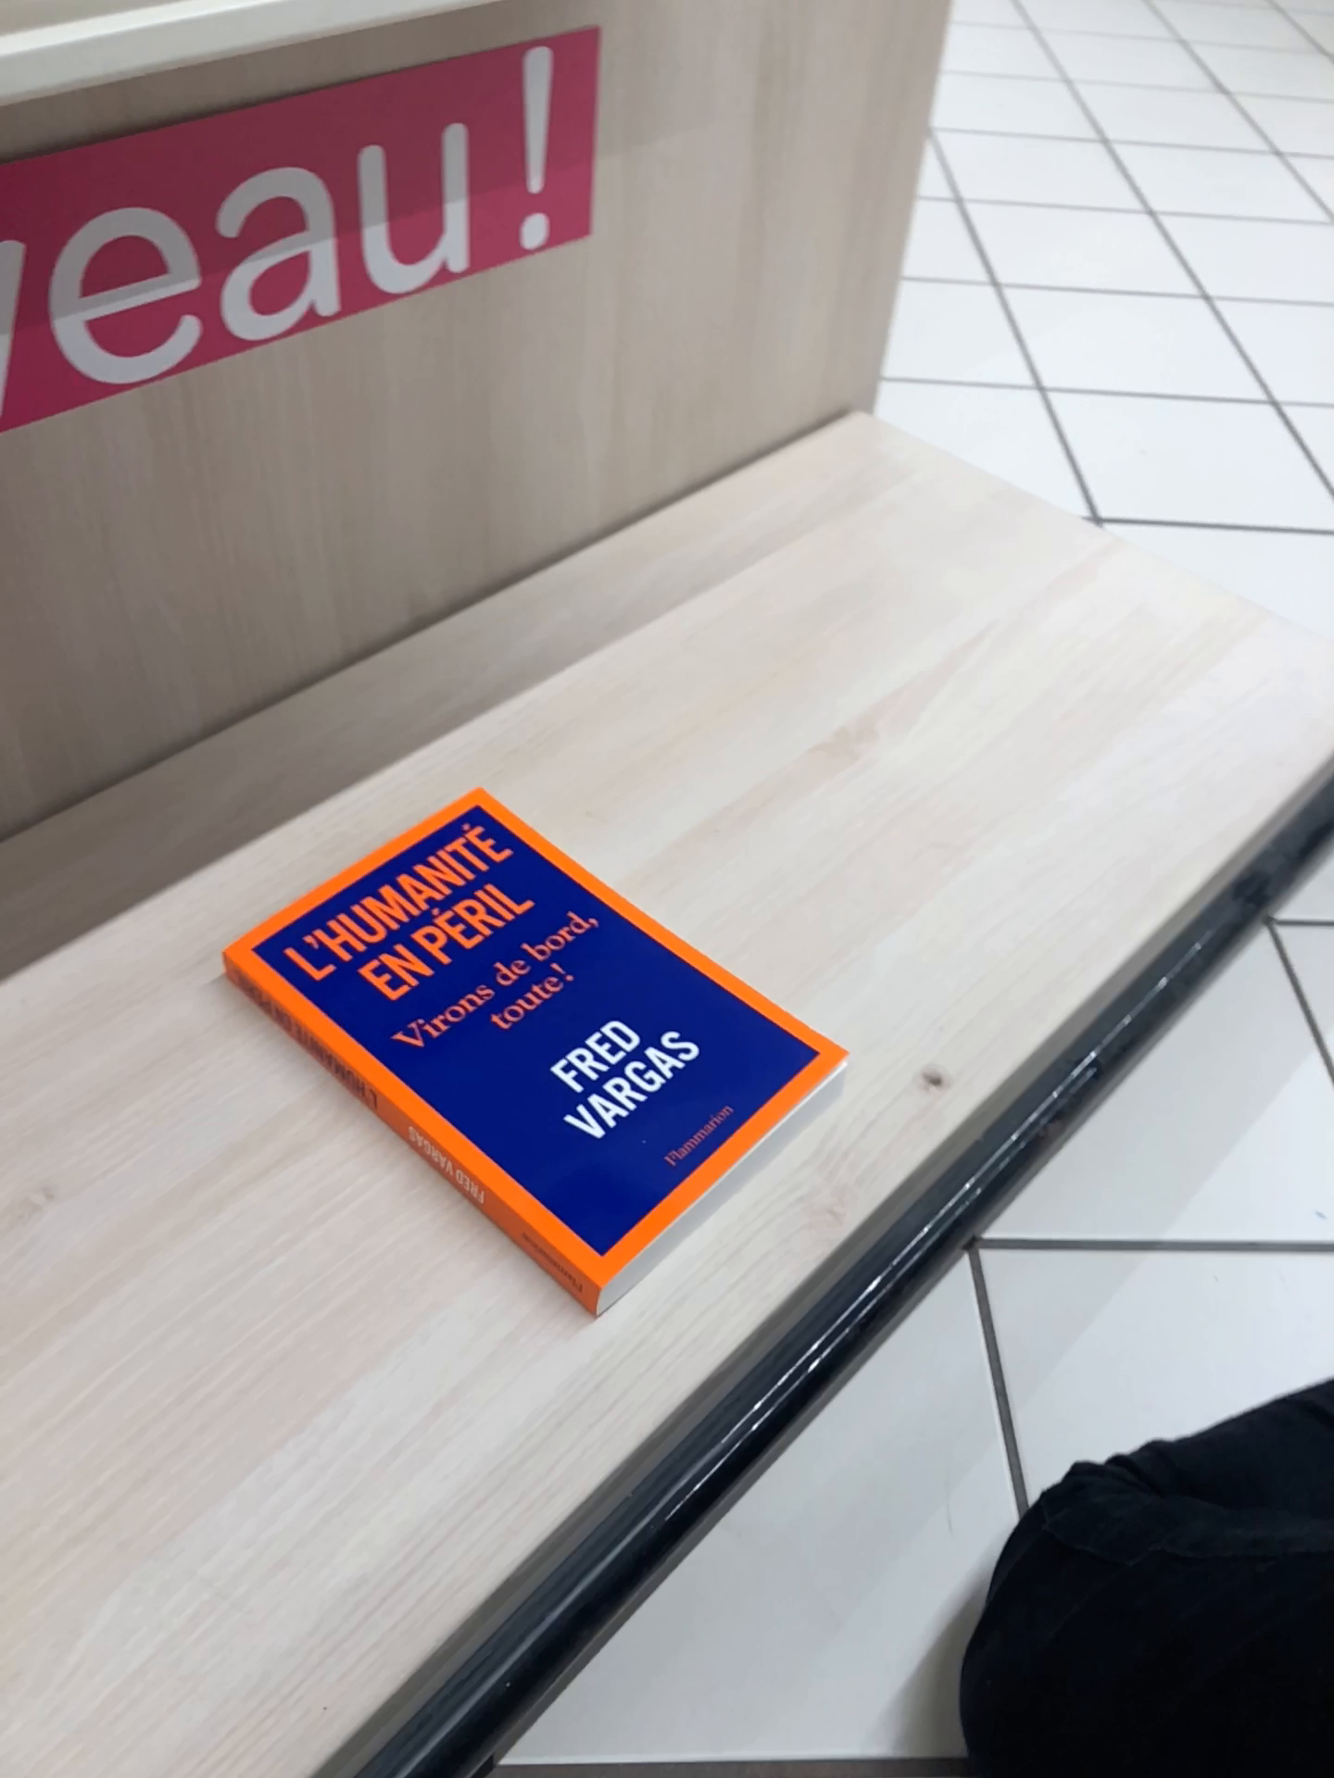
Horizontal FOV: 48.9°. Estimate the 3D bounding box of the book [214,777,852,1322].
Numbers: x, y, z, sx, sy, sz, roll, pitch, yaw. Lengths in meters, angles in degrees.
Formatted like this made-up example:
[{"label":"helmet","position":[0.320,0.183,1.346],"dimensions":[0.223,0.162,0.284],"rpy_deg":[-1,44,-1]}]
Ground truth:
[{"label":"book","position":[-0.054,0.049,0.569],"dimensions":[0.207,0.030,0.138],"rpy_deg":[35,51,26]}]
